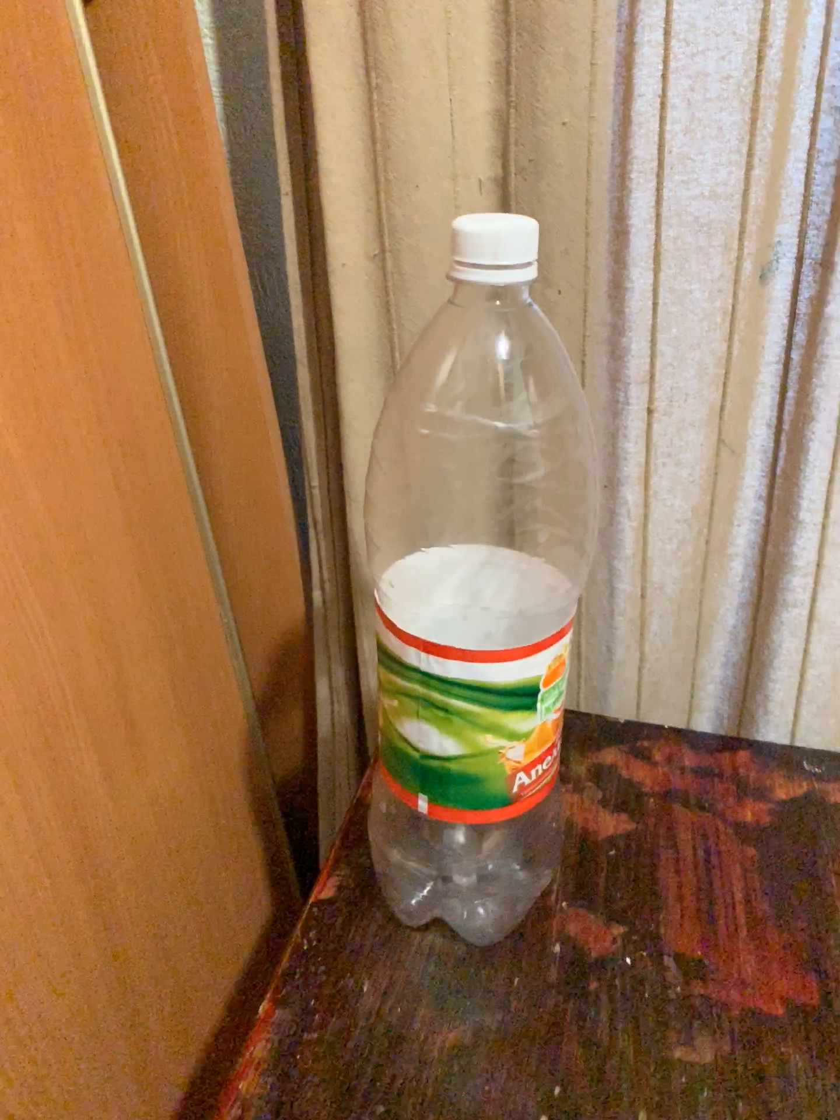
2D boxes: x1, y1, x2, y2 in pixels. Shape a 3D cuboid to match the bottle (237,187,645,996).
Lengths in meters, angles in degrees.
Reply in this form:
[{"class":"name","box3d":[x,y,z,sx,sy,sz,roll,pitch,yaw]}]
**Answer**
[{"class":"bottle","box3d":[0.017,0.022,0.366,0.100,0.317,0.101,-2,30,1]}]
